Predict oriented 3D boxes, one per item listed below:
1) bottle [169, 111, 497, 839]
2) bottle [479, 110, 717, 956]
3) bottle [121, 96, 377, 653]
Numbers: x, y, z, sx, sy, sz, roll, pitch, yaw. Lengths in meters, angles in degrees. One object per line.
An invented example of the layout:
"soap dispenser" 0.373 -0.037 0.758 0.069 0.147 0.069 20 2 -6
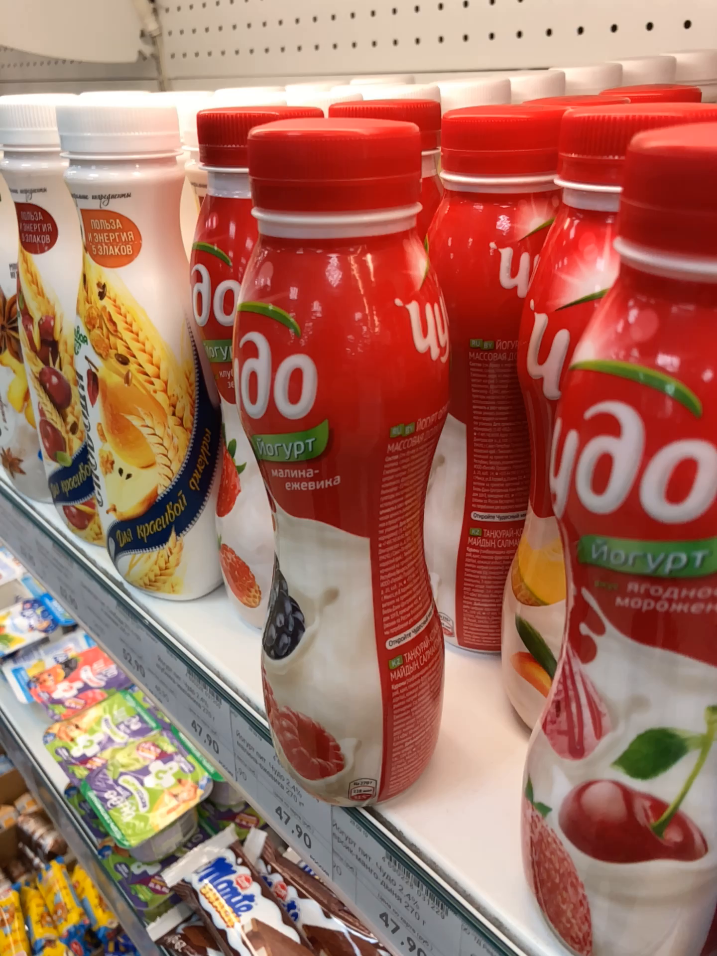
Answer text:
"bottle" -0.003 0.003 0.214 0.050 0.181 0.054 -2 27 1
"bottle" 0.064 0.026 0.165 0.050 0.181 0.054 -2 27 1
"bottle" -0.033 -0.034 0.284 0.050 0.181 0.054 -2 27 1
